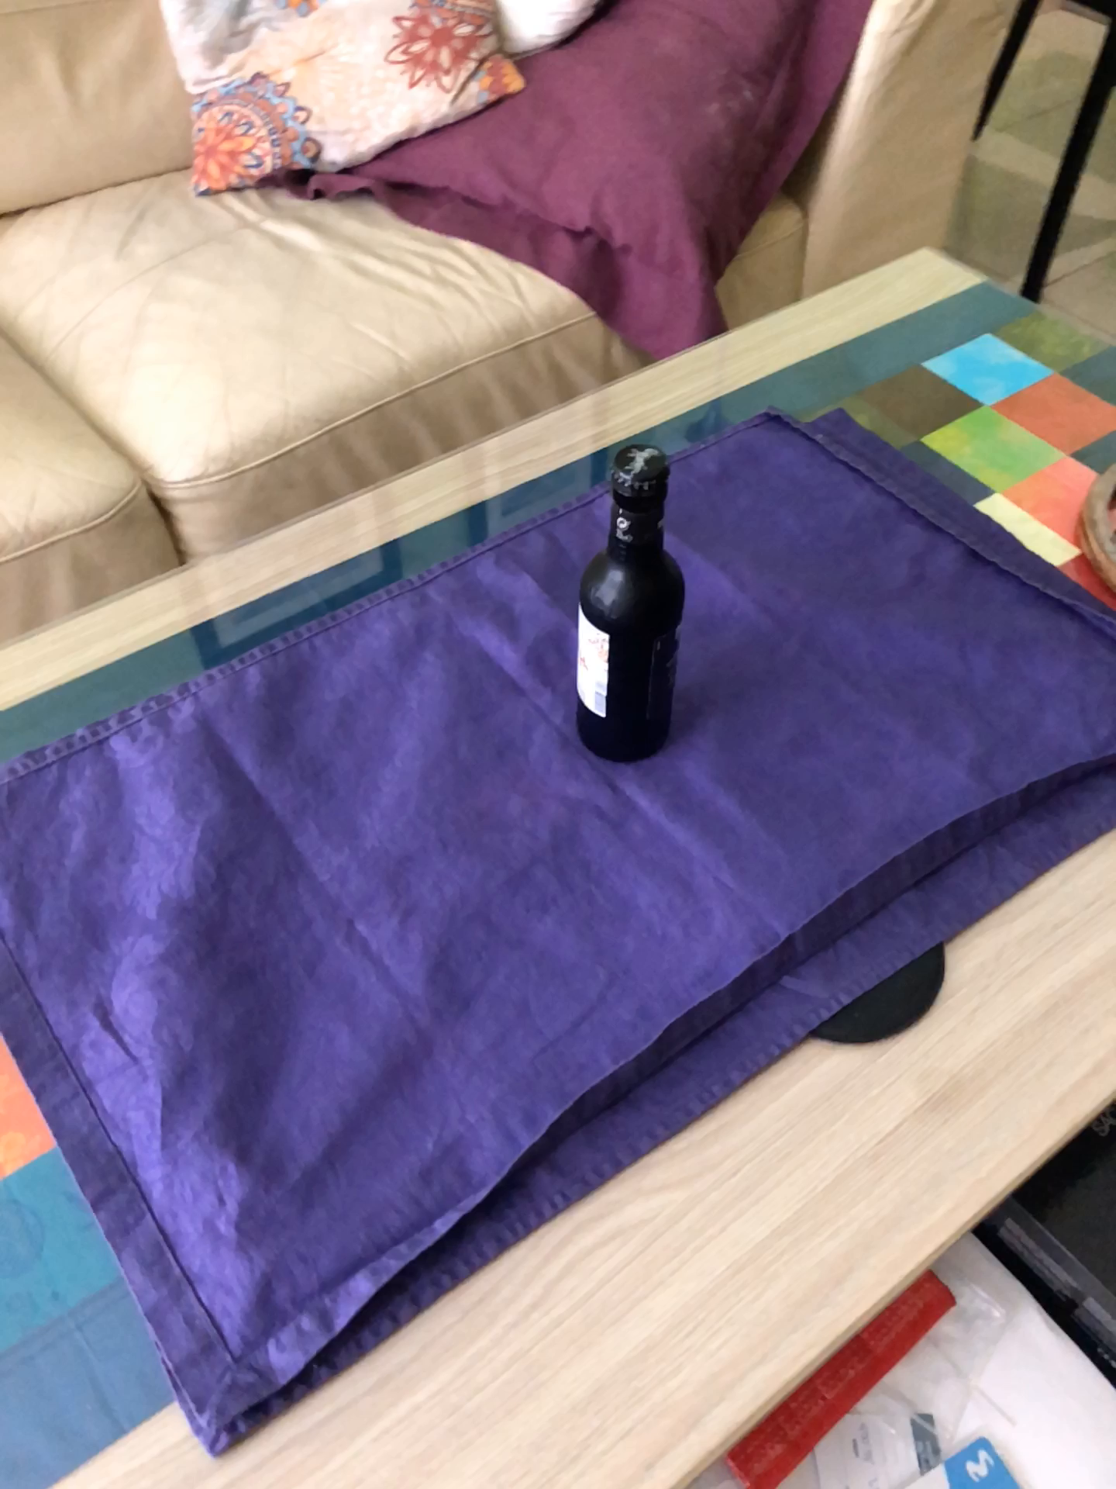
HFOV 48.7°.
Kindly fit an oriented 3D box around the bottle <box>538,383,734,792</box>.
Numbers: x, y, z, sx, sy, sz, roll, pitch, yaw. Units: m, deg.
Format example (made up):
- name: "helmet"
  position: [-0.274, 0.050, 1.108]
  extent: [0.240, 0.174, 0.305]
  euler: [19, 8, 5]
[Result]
- name: "bottle"
  position: [0.033, -0.072, 0.624]
  extent: [0.070, 0.199, 0.070]
  euler: [0, 49, 0]
